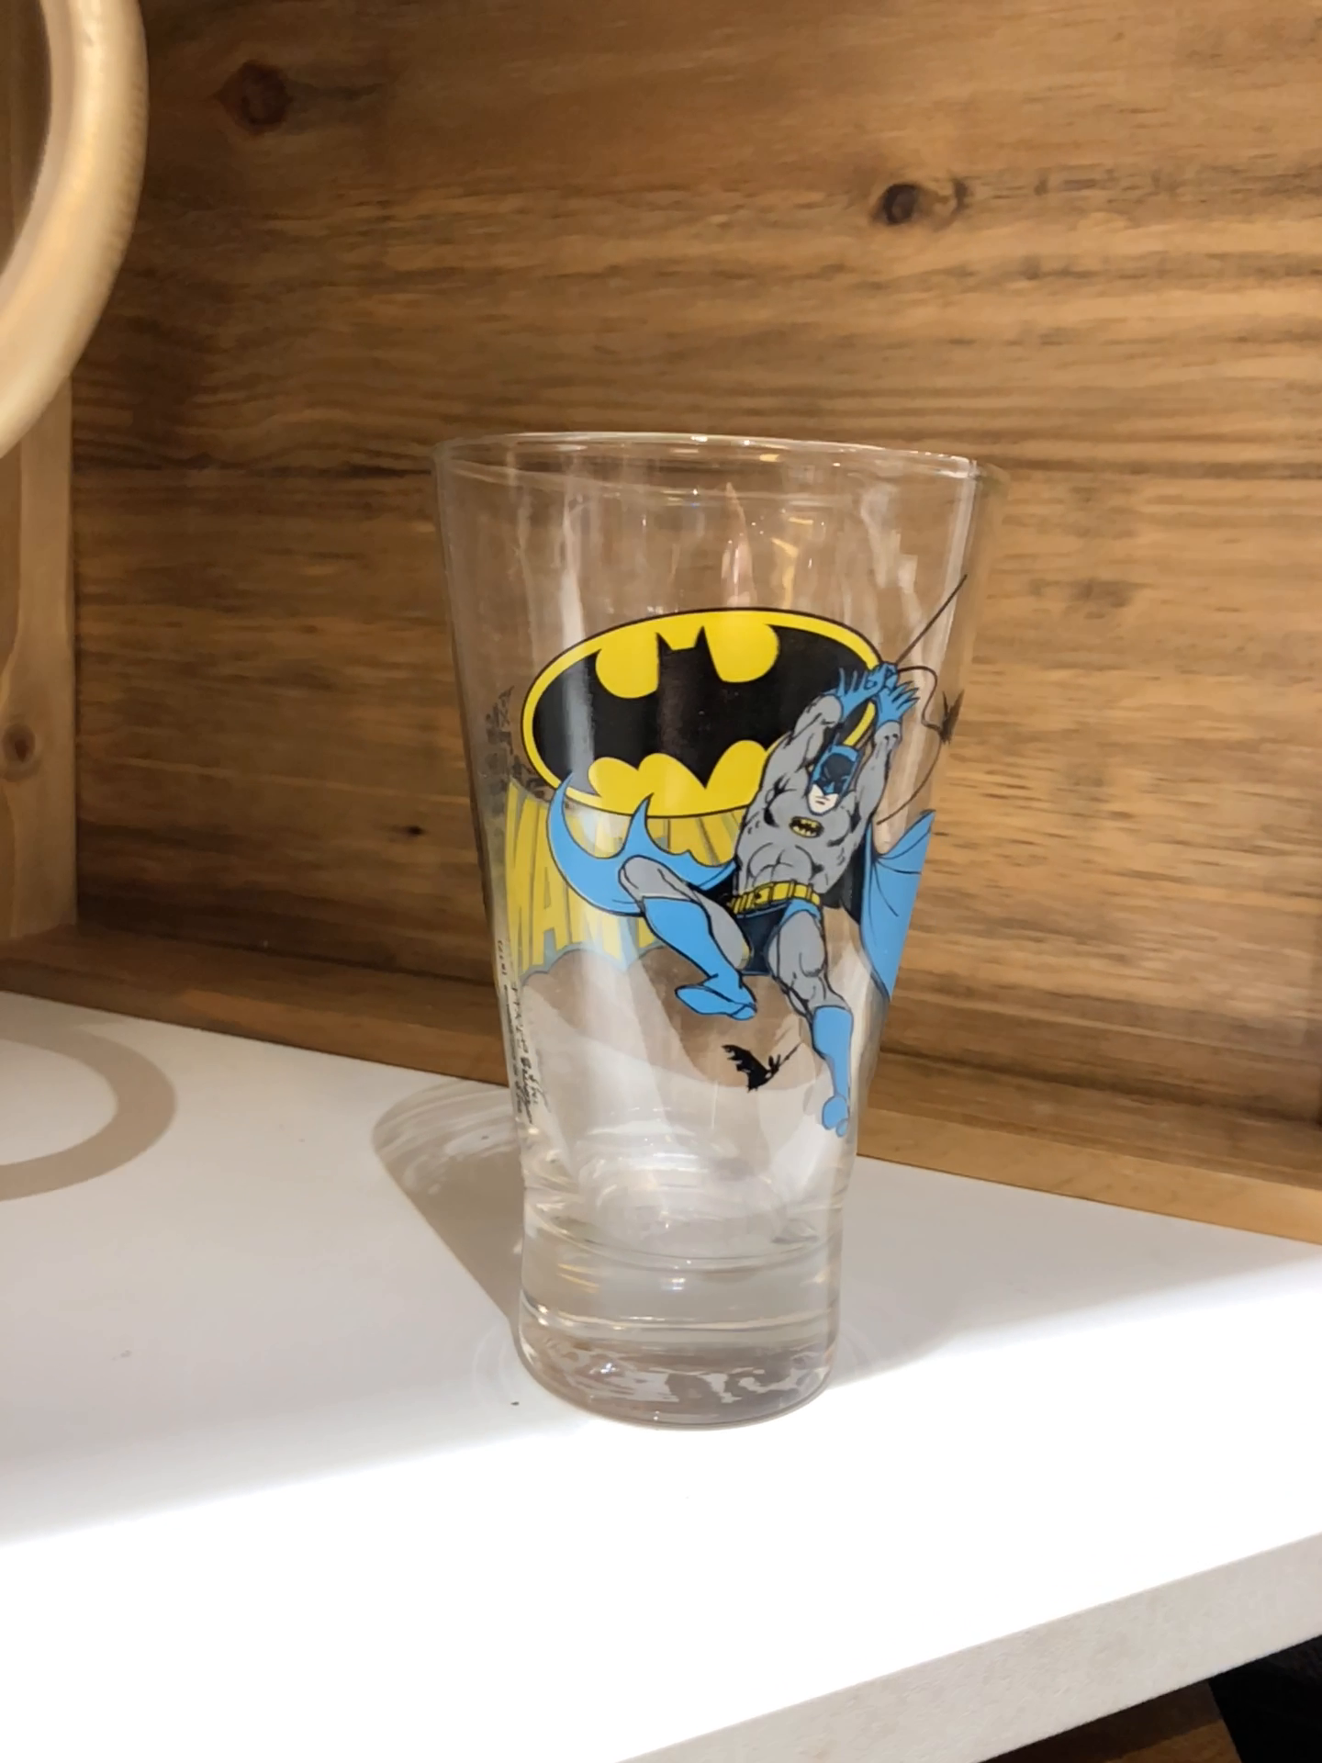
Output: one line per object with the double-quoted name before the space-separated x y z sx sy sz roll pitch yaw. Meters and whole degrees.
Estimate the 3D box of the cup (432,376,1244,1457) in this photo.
"cup" 0.017 0.000 0.224 0.090 0.130 0.080 0 11 -17
